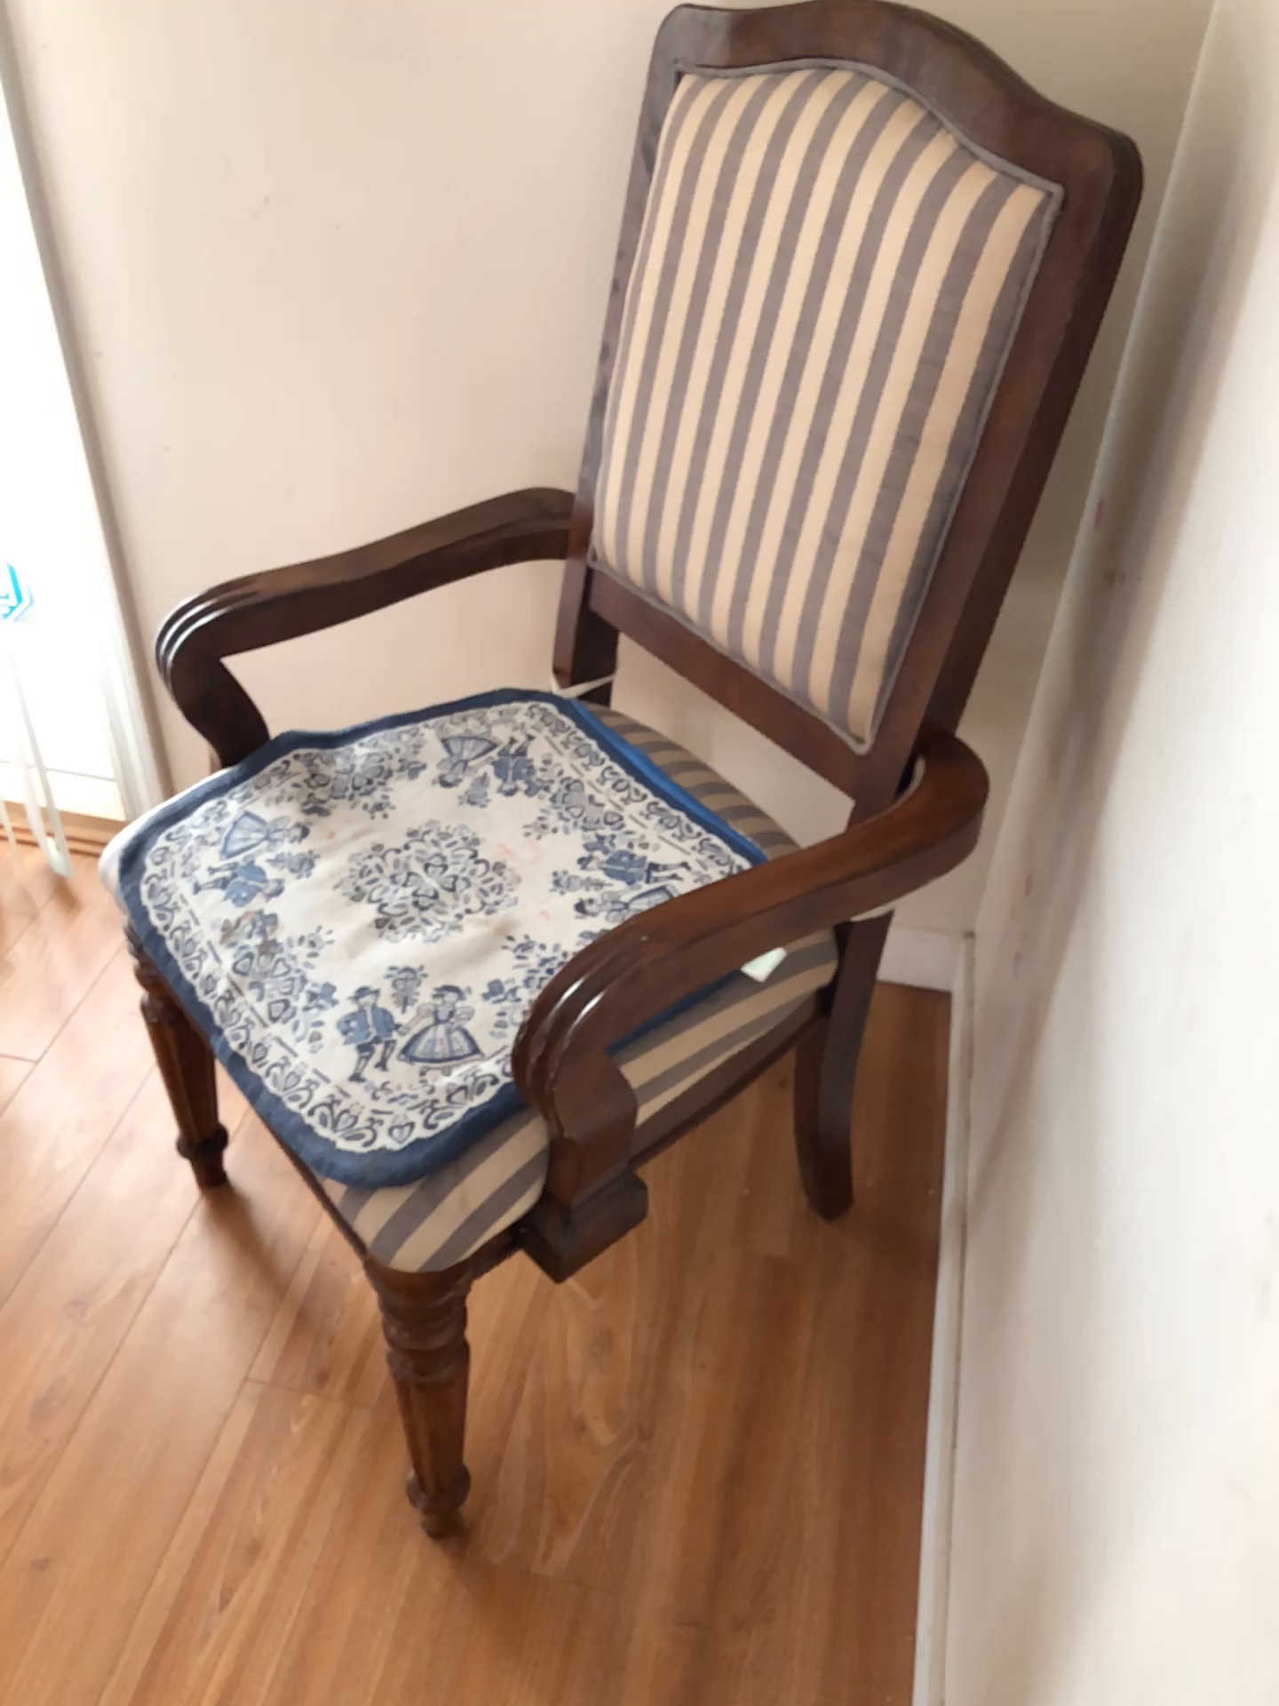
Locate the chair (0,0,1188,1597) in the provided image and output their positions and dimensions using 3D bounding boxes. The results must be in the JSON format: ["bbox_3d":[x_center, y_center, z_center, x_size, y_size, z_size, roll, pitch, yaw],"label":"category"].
[{"bbox_3d":[-0.113,-0.054,1.096,0.581,1.043,0.532,-28,48,-31],"label":"chair"}]
